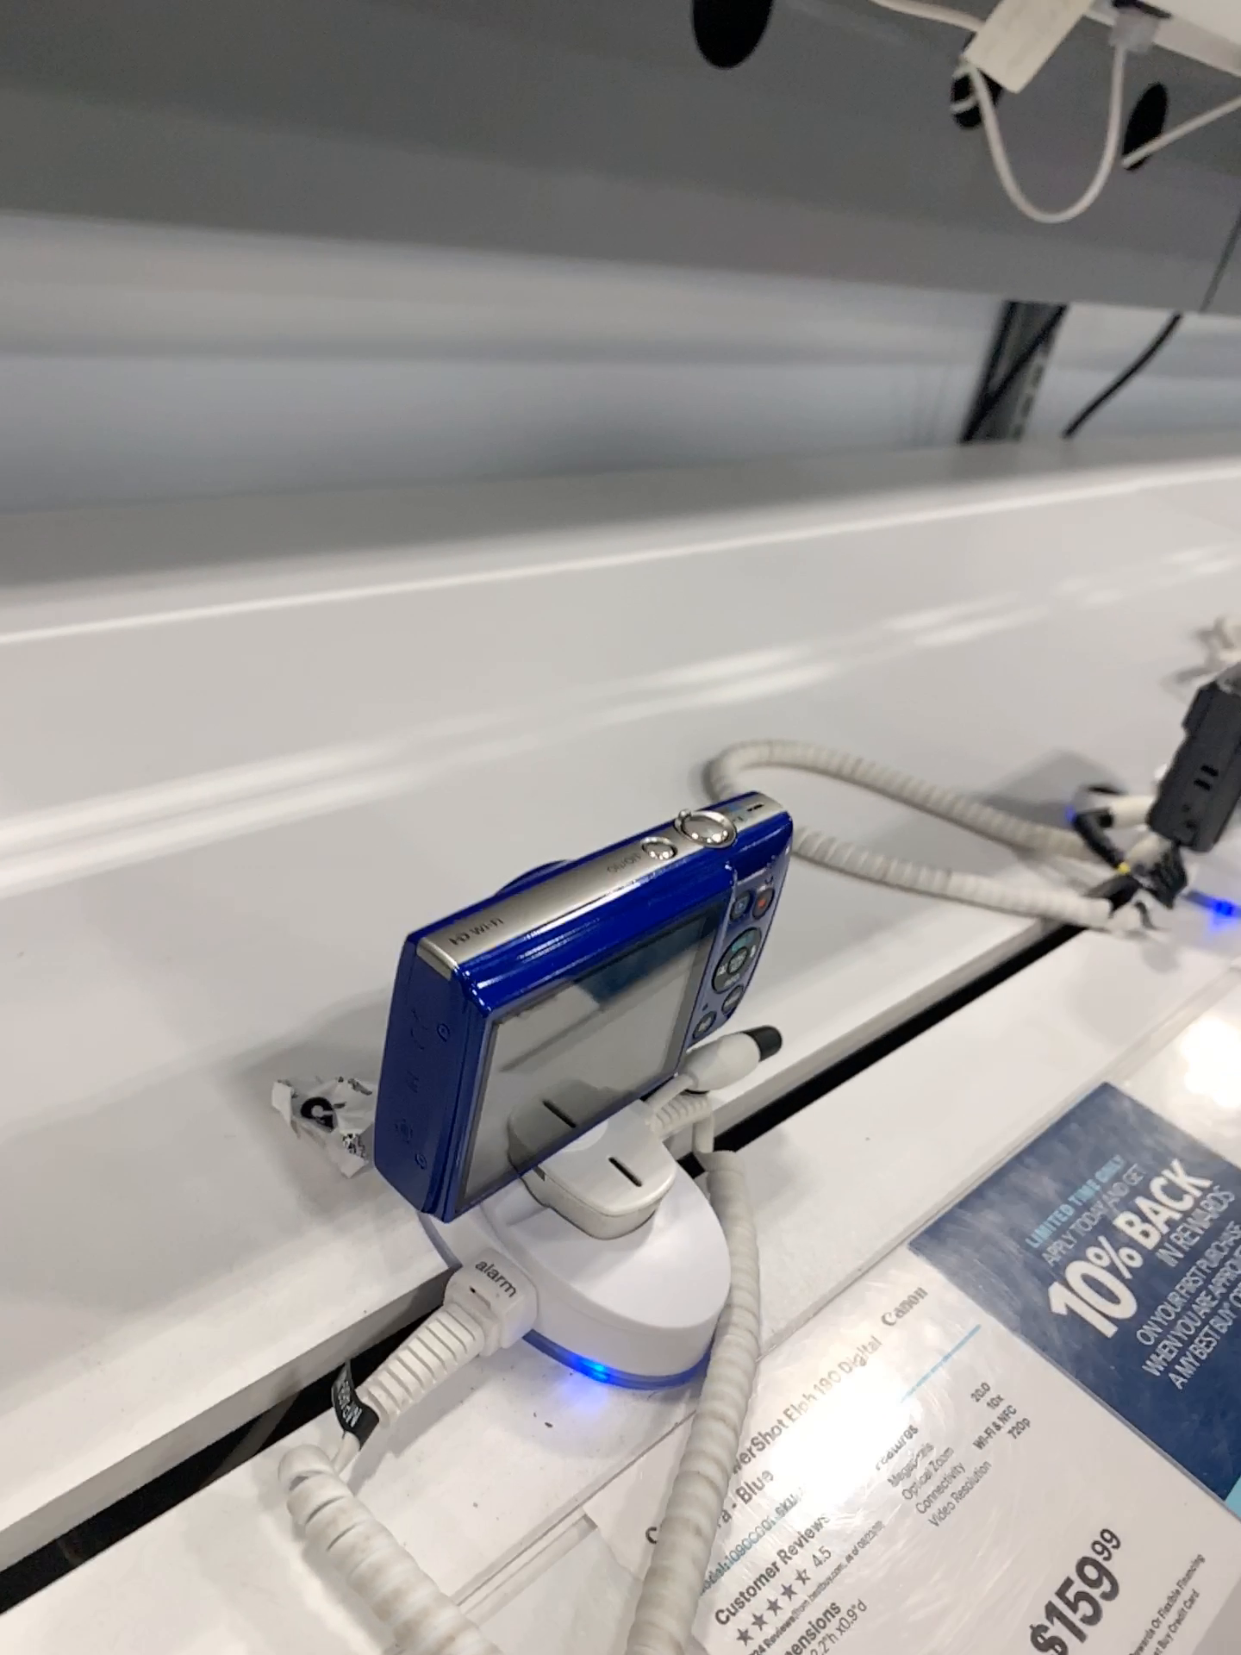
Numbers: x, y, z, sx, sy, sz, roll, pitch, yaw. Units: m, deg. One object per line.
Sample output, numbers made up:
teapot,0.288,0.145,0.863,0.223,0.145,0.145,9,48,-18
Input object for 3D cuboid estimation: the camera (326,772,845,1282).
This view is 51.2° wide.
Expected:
camera,-0.004,0.033,0.248,0.027,0.060,0.100,35,35,26
